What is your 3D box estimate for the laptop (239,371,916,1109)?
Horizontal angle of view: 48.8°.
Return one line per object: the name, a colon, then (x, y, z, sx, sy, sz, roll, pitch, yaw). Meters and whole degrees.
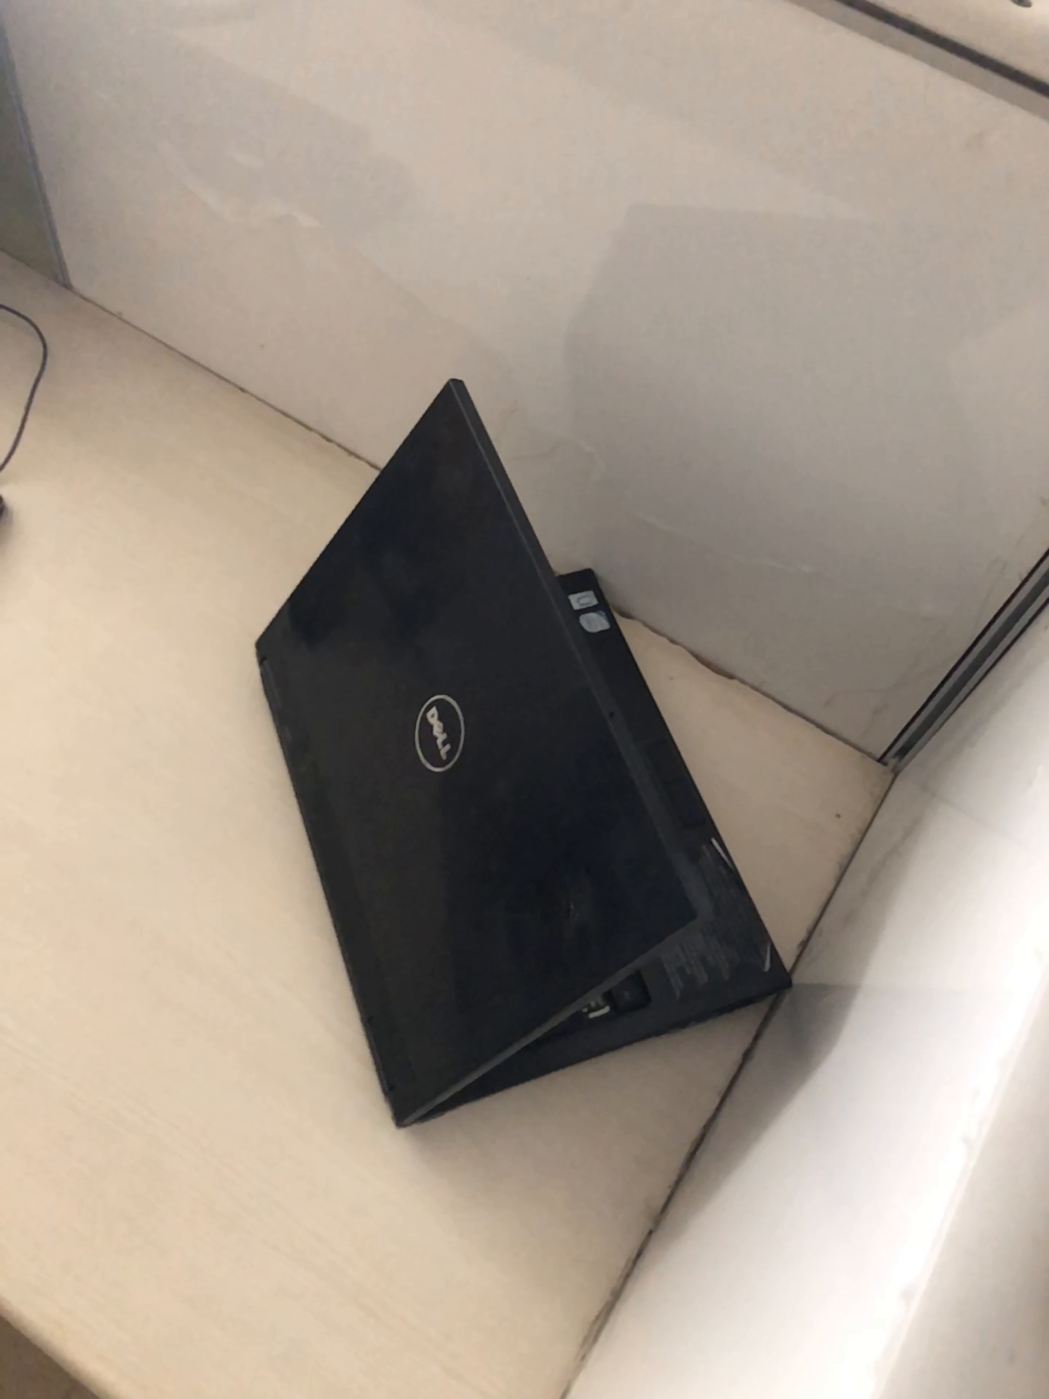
laptop: (0.006, 0.014, 0.622, 0.230, 0.191, 0.304, -13, 62, -18)
